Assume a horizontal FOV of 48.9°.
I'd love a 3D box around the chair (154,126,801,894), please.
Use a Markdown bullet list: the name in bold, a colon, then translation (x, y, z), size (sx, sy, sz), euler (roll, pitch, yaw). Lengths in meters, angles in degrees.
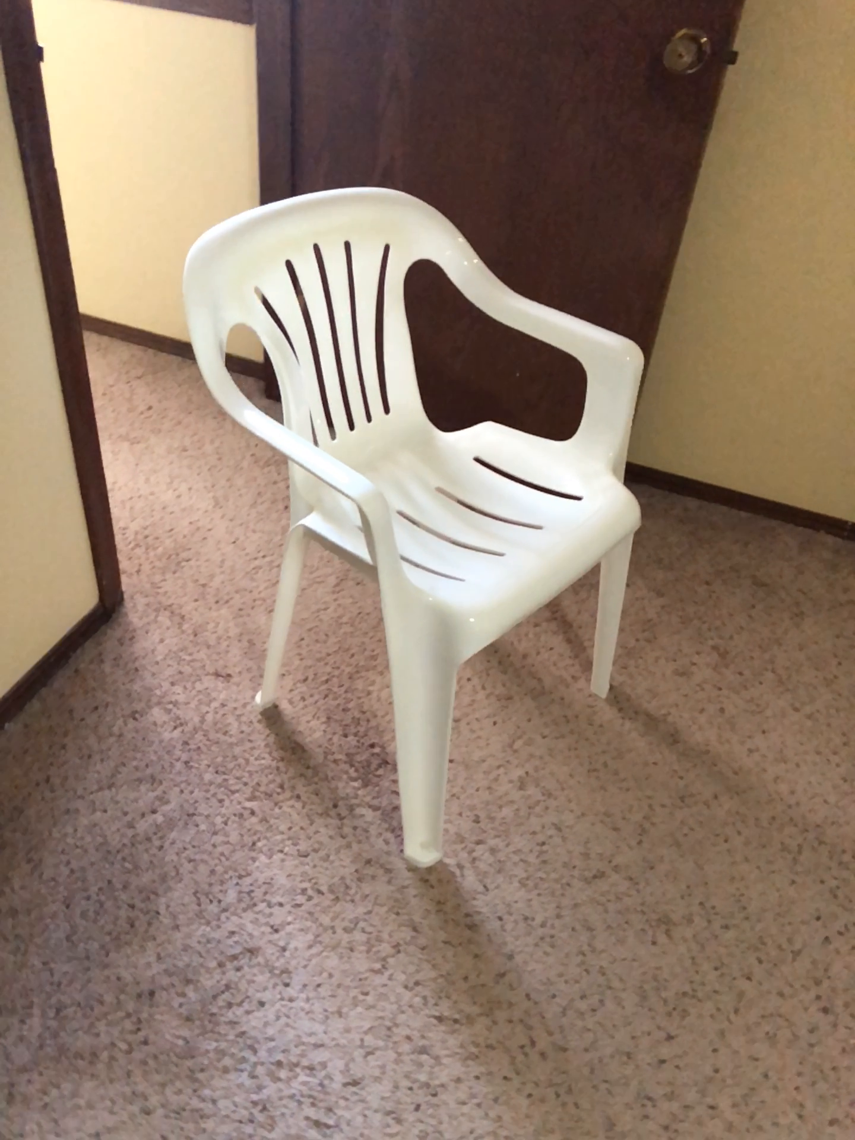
- **chair**: translation (0.047, -0.101, 1.299), size (0.470, 0.768, 0.581), euler (32, 46, 27)
